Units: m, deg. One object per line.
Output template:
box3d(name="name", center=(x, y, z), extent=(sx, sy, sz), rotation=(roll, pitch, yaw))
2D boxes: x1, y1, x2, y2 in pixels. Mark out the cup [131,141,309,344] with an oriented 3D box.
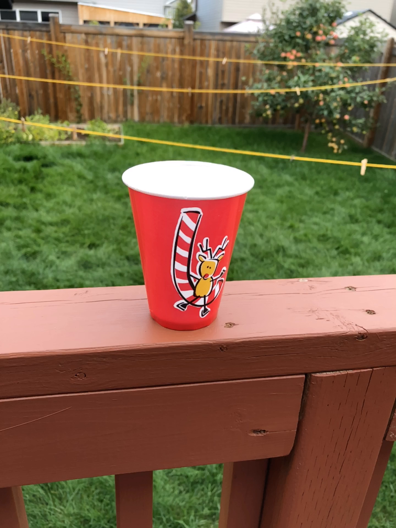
box3d(name="cup", center=(0.008, -0.020, 0.290), extent=(0.080, 0.100, 0.080), rotation=(2, 27, -1))
